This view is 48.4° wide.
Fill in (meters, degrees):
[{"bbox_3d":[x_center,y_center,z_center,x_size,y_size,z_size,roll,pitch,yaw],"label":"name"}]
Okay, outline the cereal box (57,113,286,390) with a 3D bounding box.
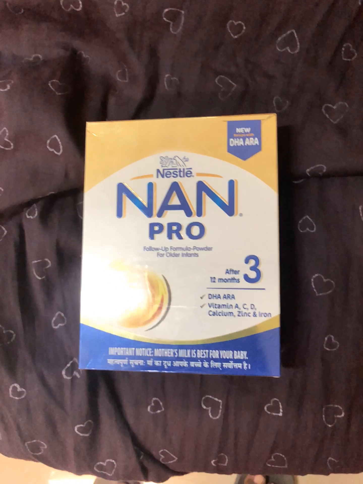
[{"bbox_3d":[-0.005,0.007,0.322,0.160,0.070,0.190,0,85,8],"label":"cereal box"}]
